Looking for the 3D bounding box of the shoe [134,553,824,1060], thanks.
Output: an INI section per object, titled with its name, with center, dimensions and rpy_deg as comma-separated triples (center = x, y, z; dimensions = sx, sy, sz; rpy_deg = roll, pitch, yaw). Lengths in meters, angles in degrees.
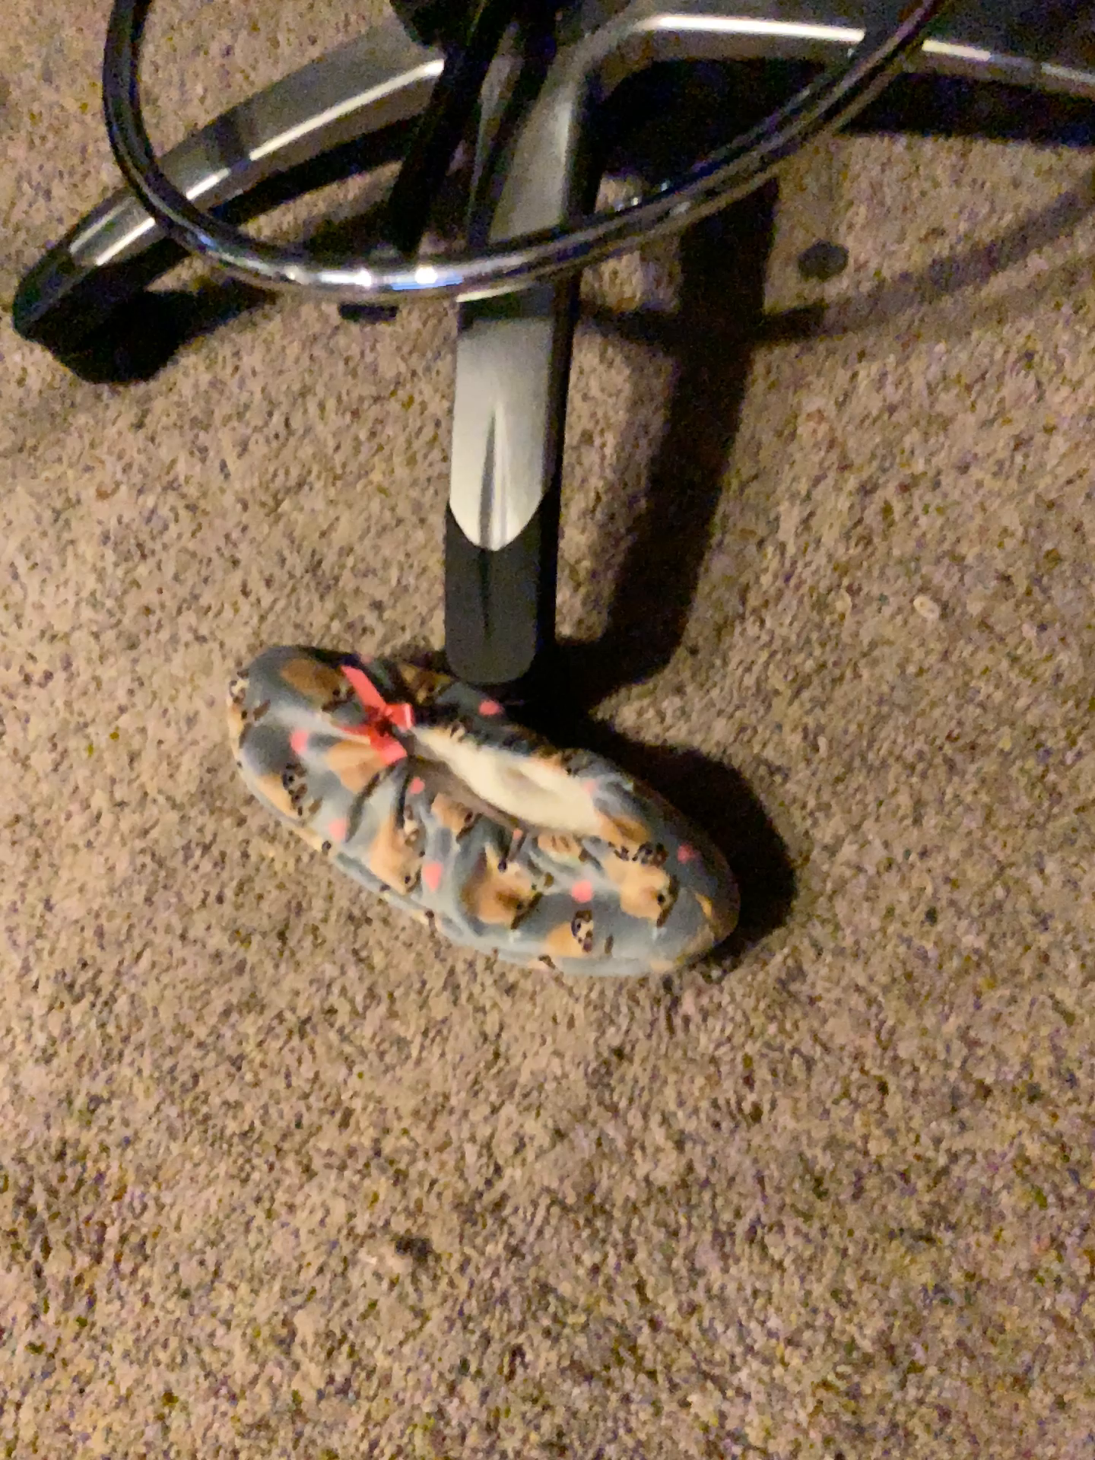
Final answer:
[shoe]
center = -0.033, 0.024, 0.518
dimensions = 0.260, 0.070, 0.120
rpy_deg = 20, 75, 27
